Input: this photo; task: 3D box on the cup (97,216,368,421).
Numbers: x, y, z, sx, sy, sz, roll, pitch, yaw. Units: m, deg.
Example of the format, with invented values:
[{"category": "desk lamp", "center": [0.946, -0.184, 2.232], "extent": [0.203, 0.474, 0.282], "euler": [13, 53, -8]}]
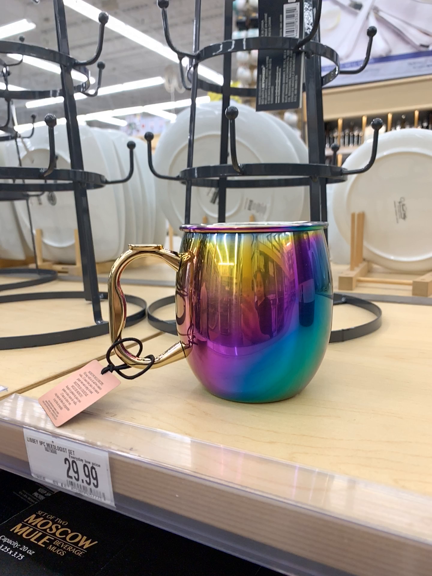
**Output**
[{"category": "cup", "center": [0.004, 0.006, 0.257], "extent": [0.130, 0.089, 0.085], "euler": [-4, 10, -13]}]
